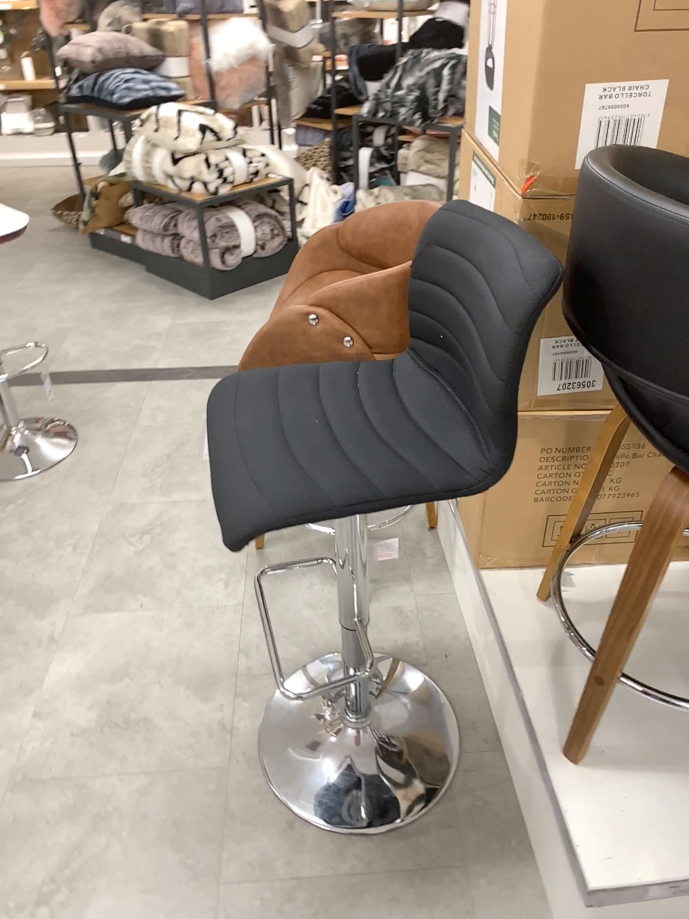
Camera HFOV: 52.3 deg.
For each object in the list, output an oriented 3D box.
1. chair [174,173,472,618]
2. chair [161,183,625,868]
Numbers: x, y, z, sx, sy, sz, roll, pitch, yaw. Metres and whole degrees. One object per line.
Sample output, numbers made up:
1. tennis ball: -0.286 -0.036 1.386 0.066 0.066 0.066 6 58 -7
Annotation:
1. chair: 0.002 -0.155 1.674 0.518 0.875 0.529 4 35 8
2. chair: 0.025 0.134 1.163 0.468 0.994 0.458 -9 35 -11
